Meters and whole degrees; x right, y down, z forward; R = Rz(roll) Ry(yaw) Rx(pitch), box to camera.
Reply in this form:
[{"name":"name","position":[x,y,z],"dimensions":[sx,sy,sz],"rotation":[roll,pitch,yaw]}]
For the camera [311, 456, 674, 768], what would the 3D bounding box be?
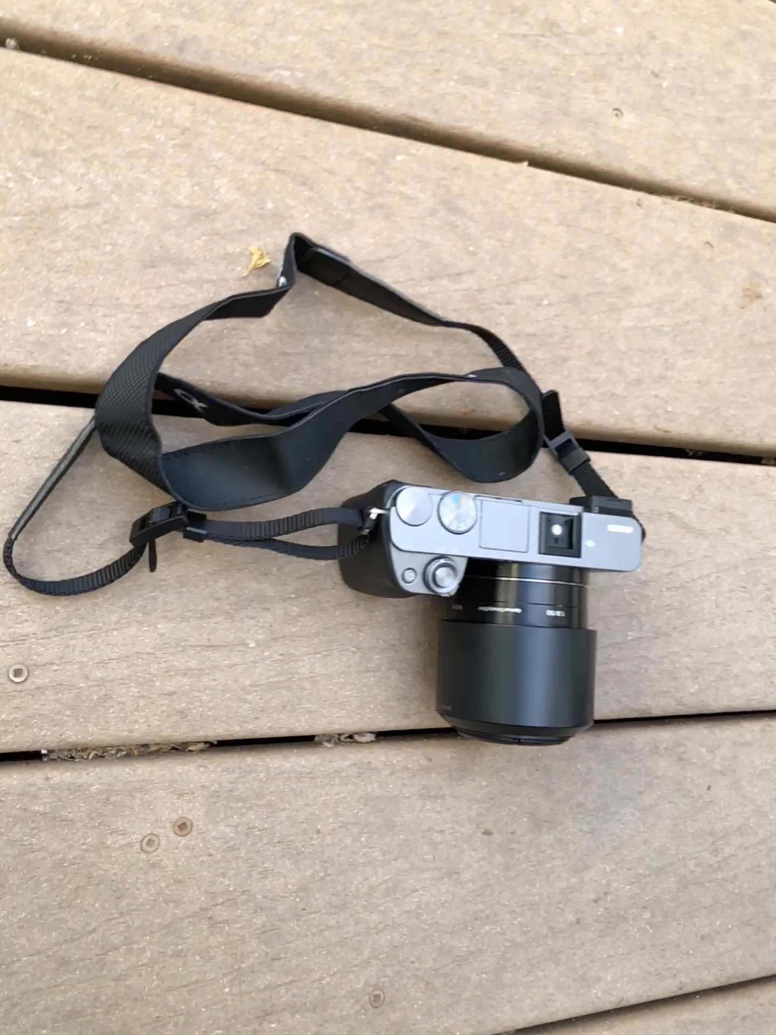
[{"name":"camera","position":[0.044,0.042,0.362],"dimensions":[0.130,0.070,0.110],"rotation":[6,83,-22]}]
